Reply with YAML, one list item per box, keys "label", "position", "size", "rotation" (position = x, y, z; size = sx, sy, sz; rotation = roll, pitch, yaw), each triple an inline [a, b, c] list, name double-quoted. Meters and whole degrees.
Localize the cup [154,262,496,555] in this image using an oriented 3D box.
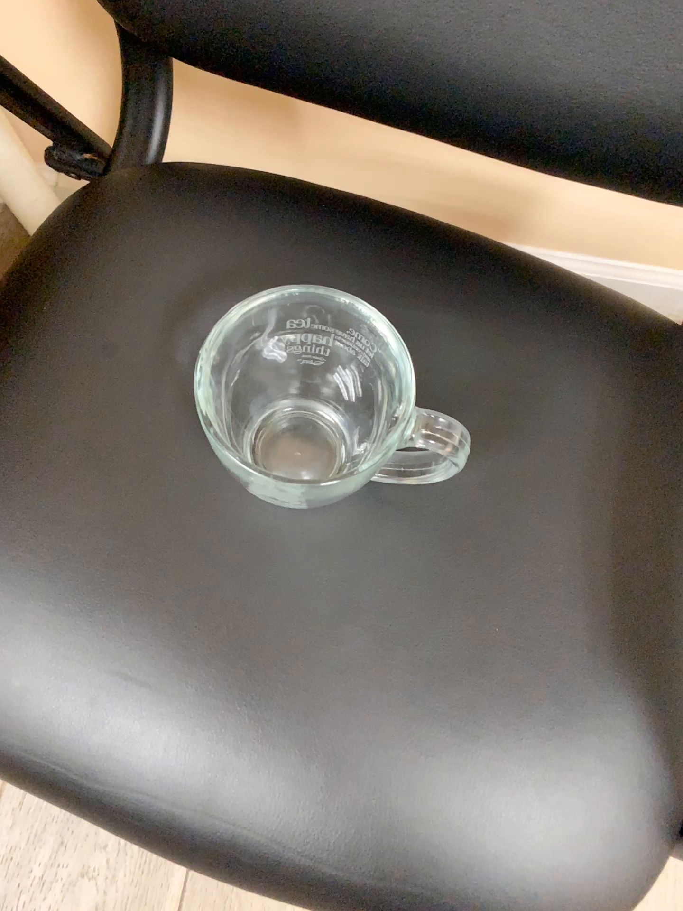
- label: "cup"
  position: [-0.007, -0.017, 0.360]
  size: [0.139, 0.100, 0.096]
  rotation: [10, 70, -2]
